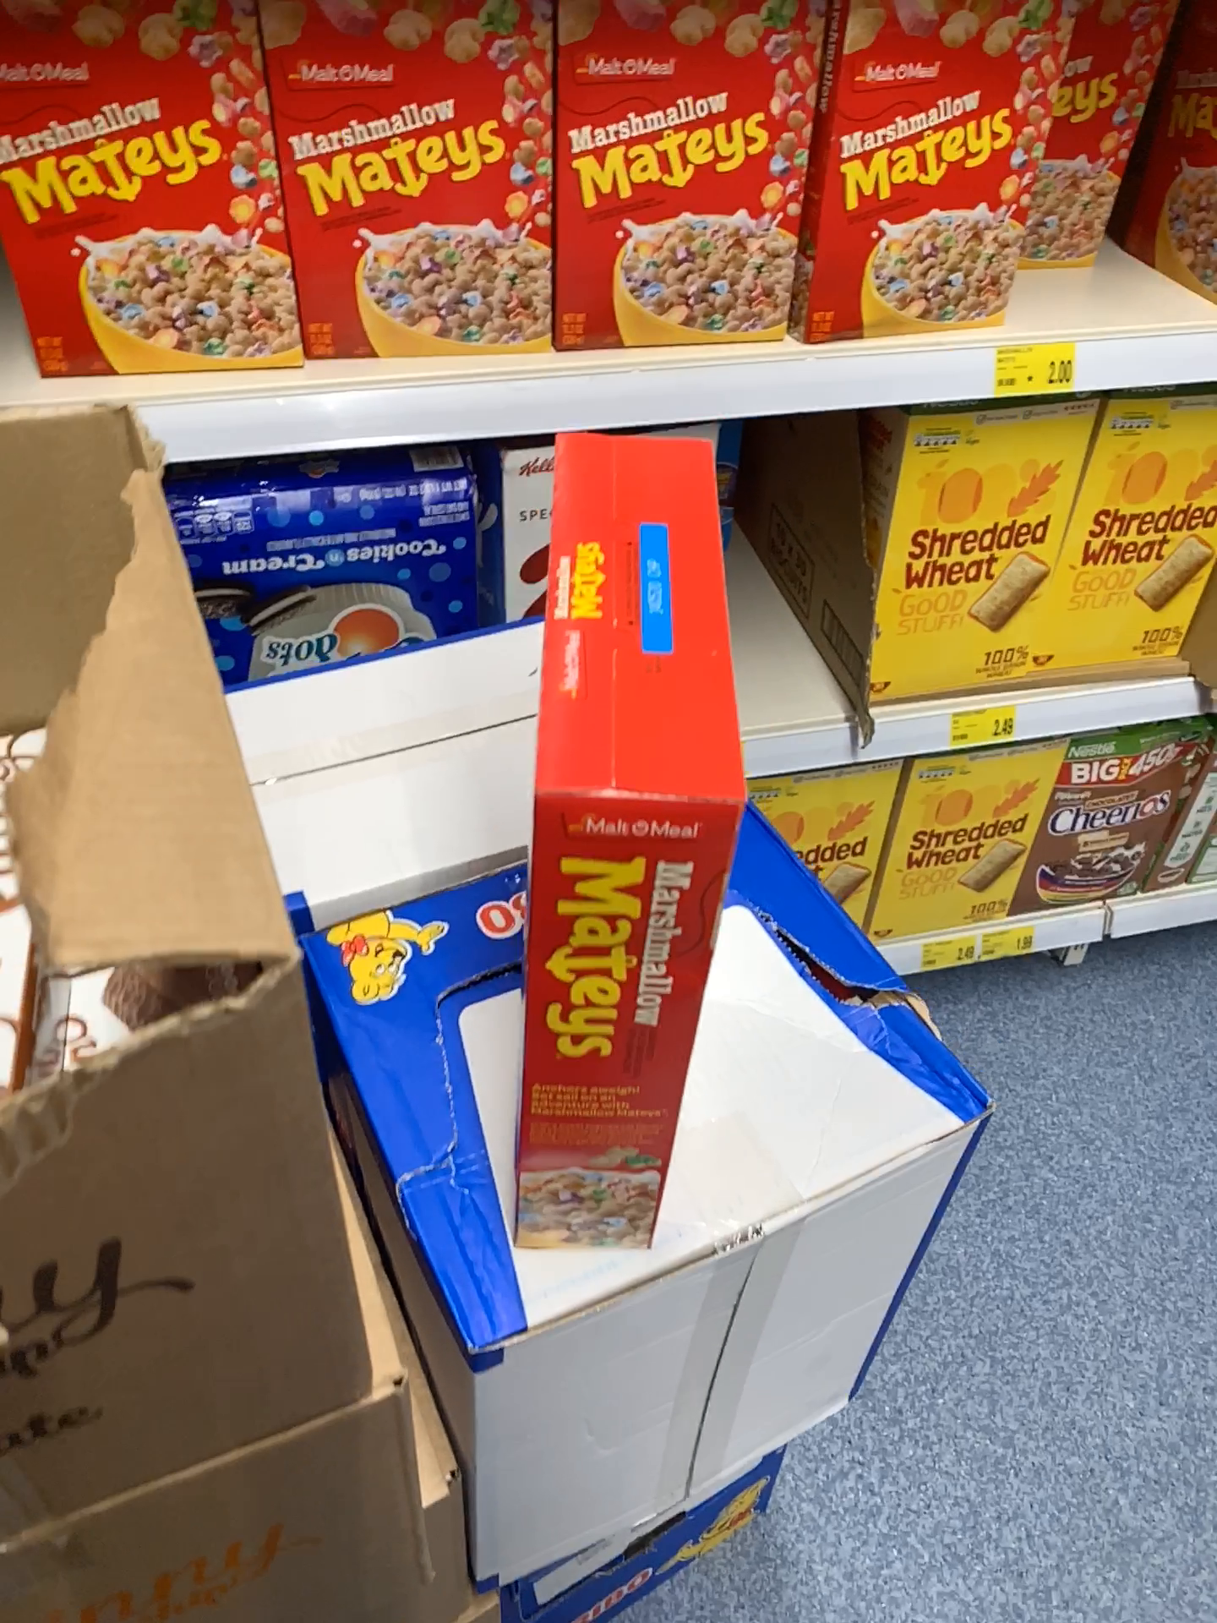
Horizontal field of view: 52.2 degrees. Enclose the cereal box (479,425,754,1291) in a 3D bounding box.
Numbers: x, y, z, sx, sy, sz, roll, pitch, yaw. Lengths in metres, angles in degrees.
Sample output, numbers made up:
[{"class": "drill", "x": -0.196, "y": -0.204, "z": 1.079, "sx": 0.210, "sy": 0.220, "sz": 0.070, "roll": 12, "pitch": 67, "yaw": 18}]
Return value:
[{"class": "cereal box", "x": -0.003, "y": 0.031, "z": 0.485, "sx": 0.070, "sy": 0.287, "sz": 0.192, "roll": 4, "pitch": 46, "yaw": -1}]
